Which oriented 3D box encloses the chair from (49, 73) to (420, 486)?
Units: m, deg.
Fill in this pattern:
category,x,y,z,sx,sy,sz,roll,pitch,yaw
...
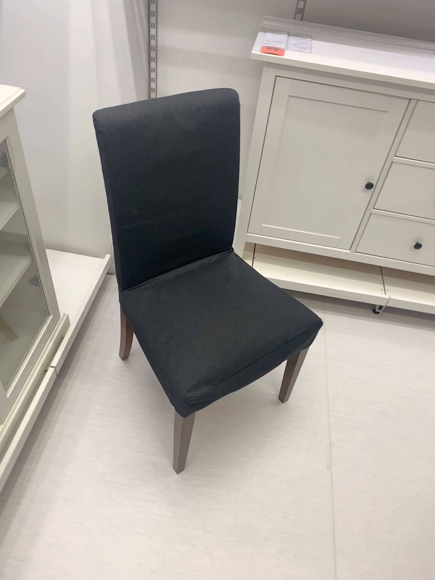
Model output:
category,x,y,z,sx,sy,sz,roll,pitch,yaw
chair,-0.019,-0.029,1.242,0.541,0.837,0.611,-24,53,-29
